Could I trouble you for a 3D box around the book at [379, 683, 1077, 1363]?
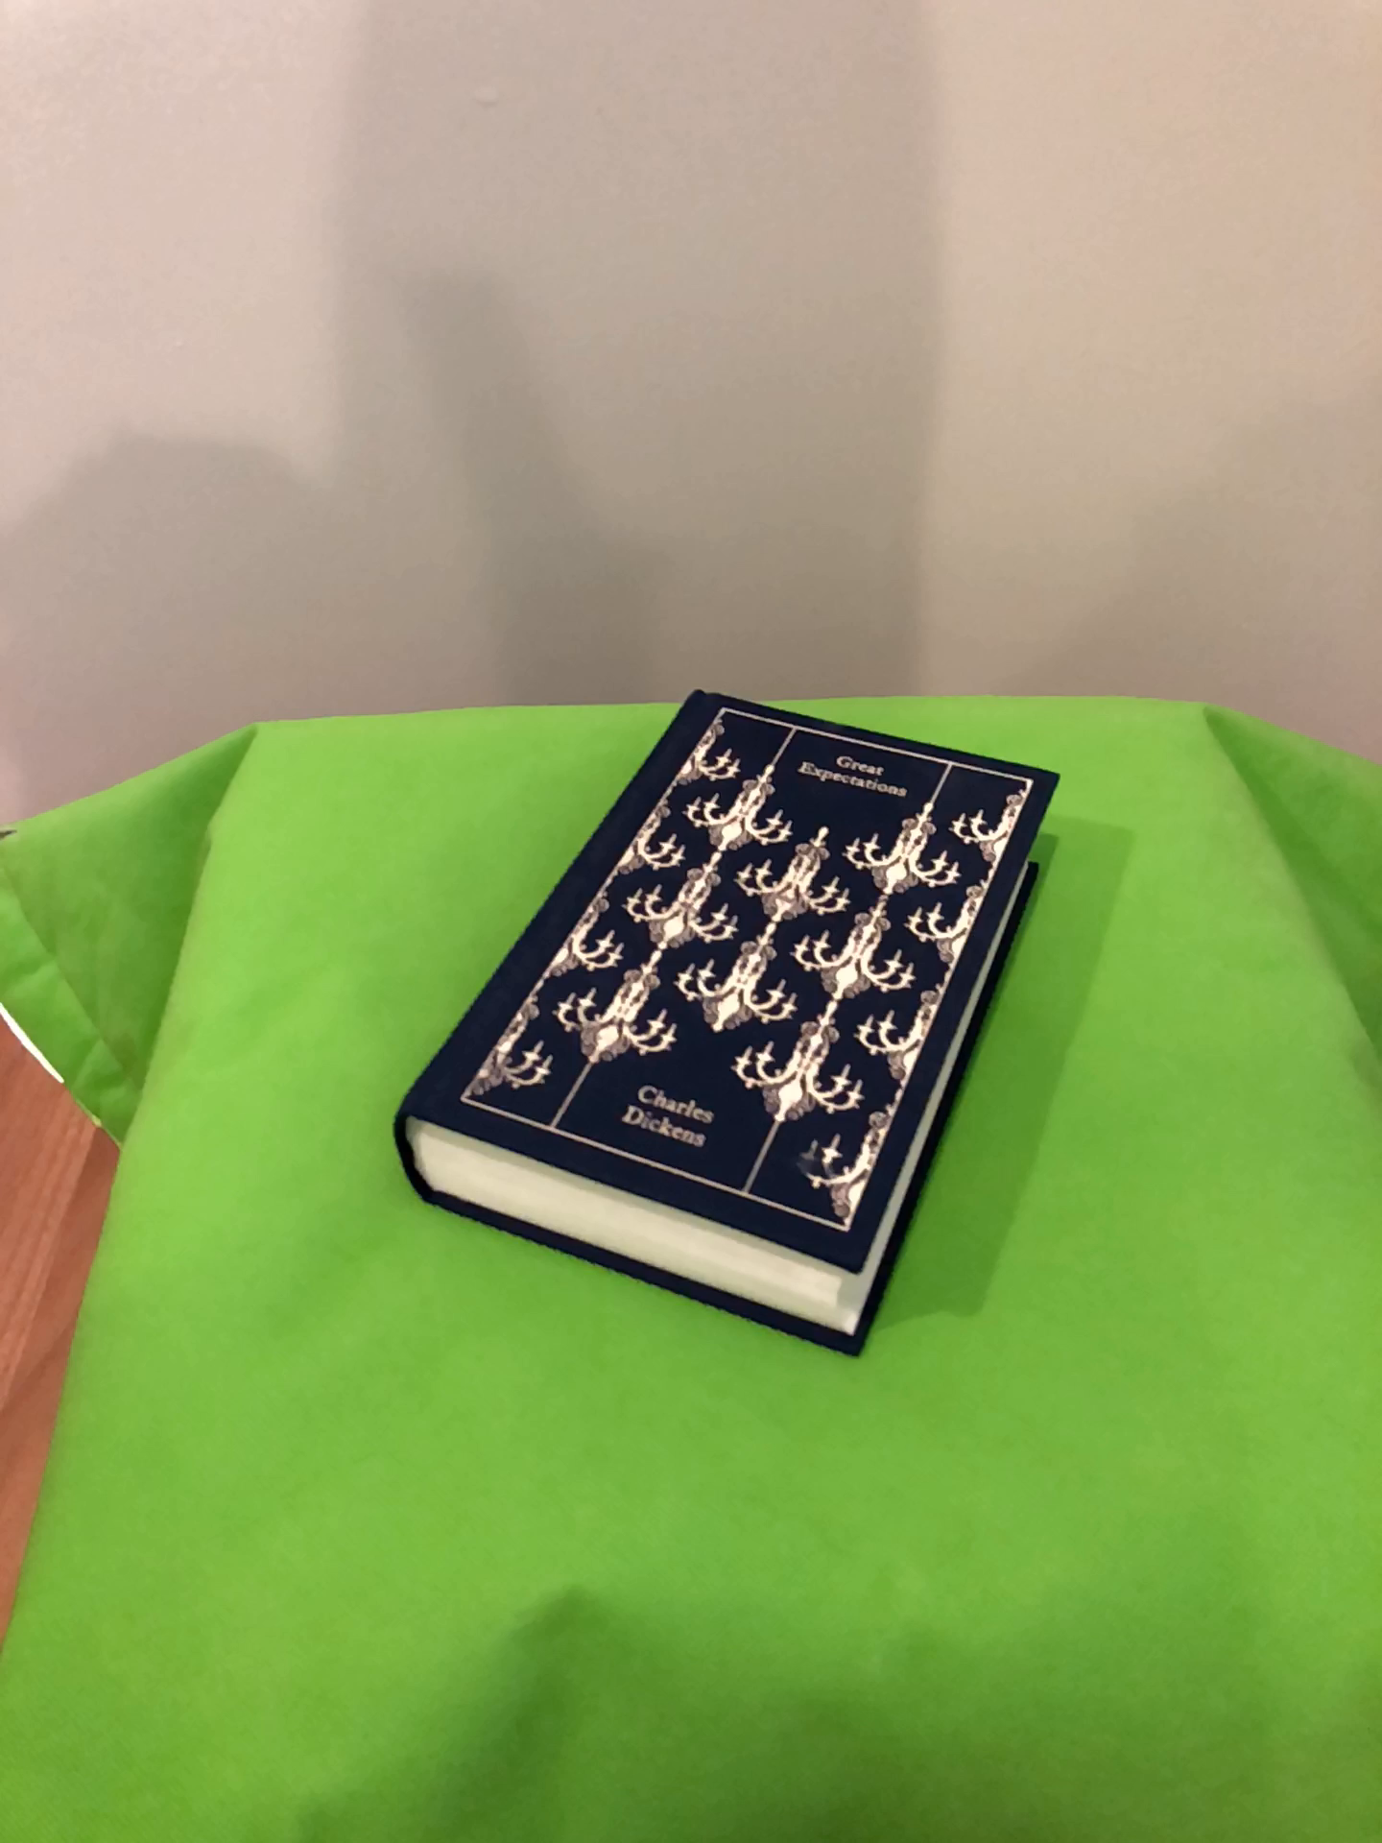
[{"bbox_3d":[0.023,0.014,0.470,0.140,0.040,0.211,16,46,18],"label":"book"}]
